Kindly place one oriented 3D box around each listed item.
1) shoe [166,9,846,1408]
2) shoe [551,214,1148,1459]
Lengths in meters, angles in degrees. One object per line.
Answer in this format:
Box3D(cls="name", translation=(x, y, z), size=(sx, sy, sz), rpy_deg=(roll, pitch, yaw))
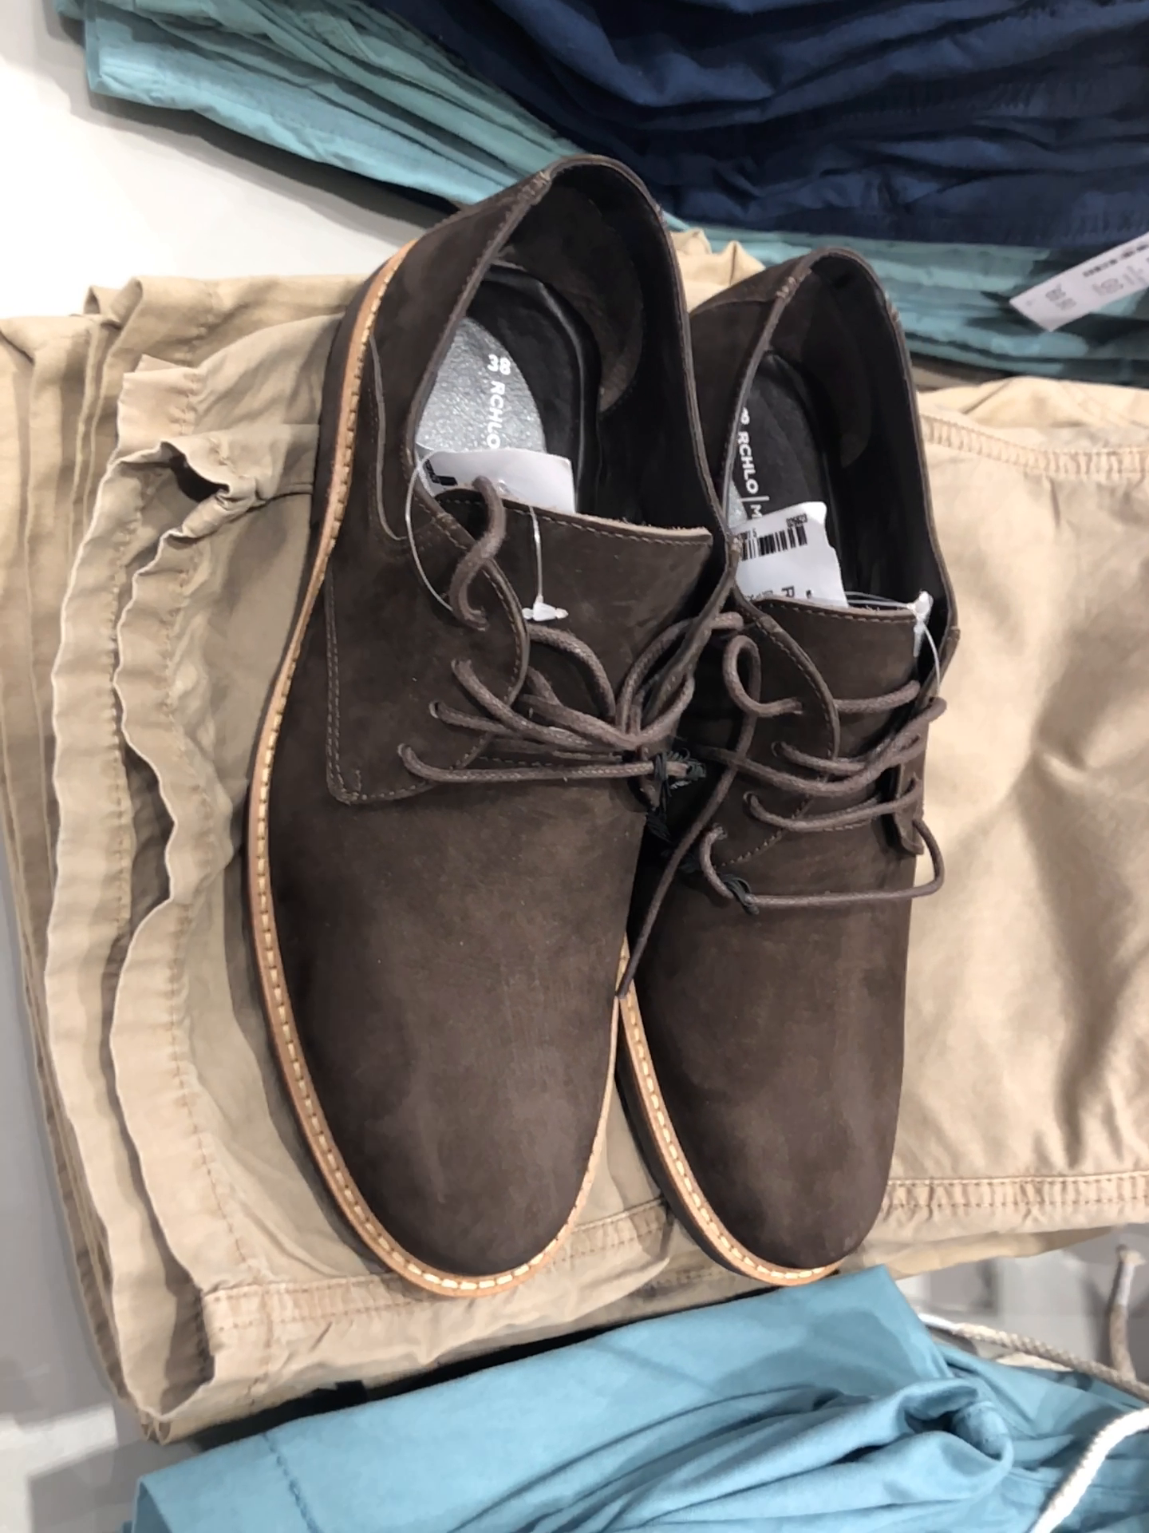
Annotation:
Box3D(cls="shoe", translation=(-0.020, -0.009, 0.307), size=(0.110, 0.109, 0.260), rpy_deg=(7, 84, -25))
Box3D(cls="shoe", translation=(0.066, 0.014, 0.335), size=(0.100, 0.110, 0.260), rpy_deg=(-1, 85, -21))
